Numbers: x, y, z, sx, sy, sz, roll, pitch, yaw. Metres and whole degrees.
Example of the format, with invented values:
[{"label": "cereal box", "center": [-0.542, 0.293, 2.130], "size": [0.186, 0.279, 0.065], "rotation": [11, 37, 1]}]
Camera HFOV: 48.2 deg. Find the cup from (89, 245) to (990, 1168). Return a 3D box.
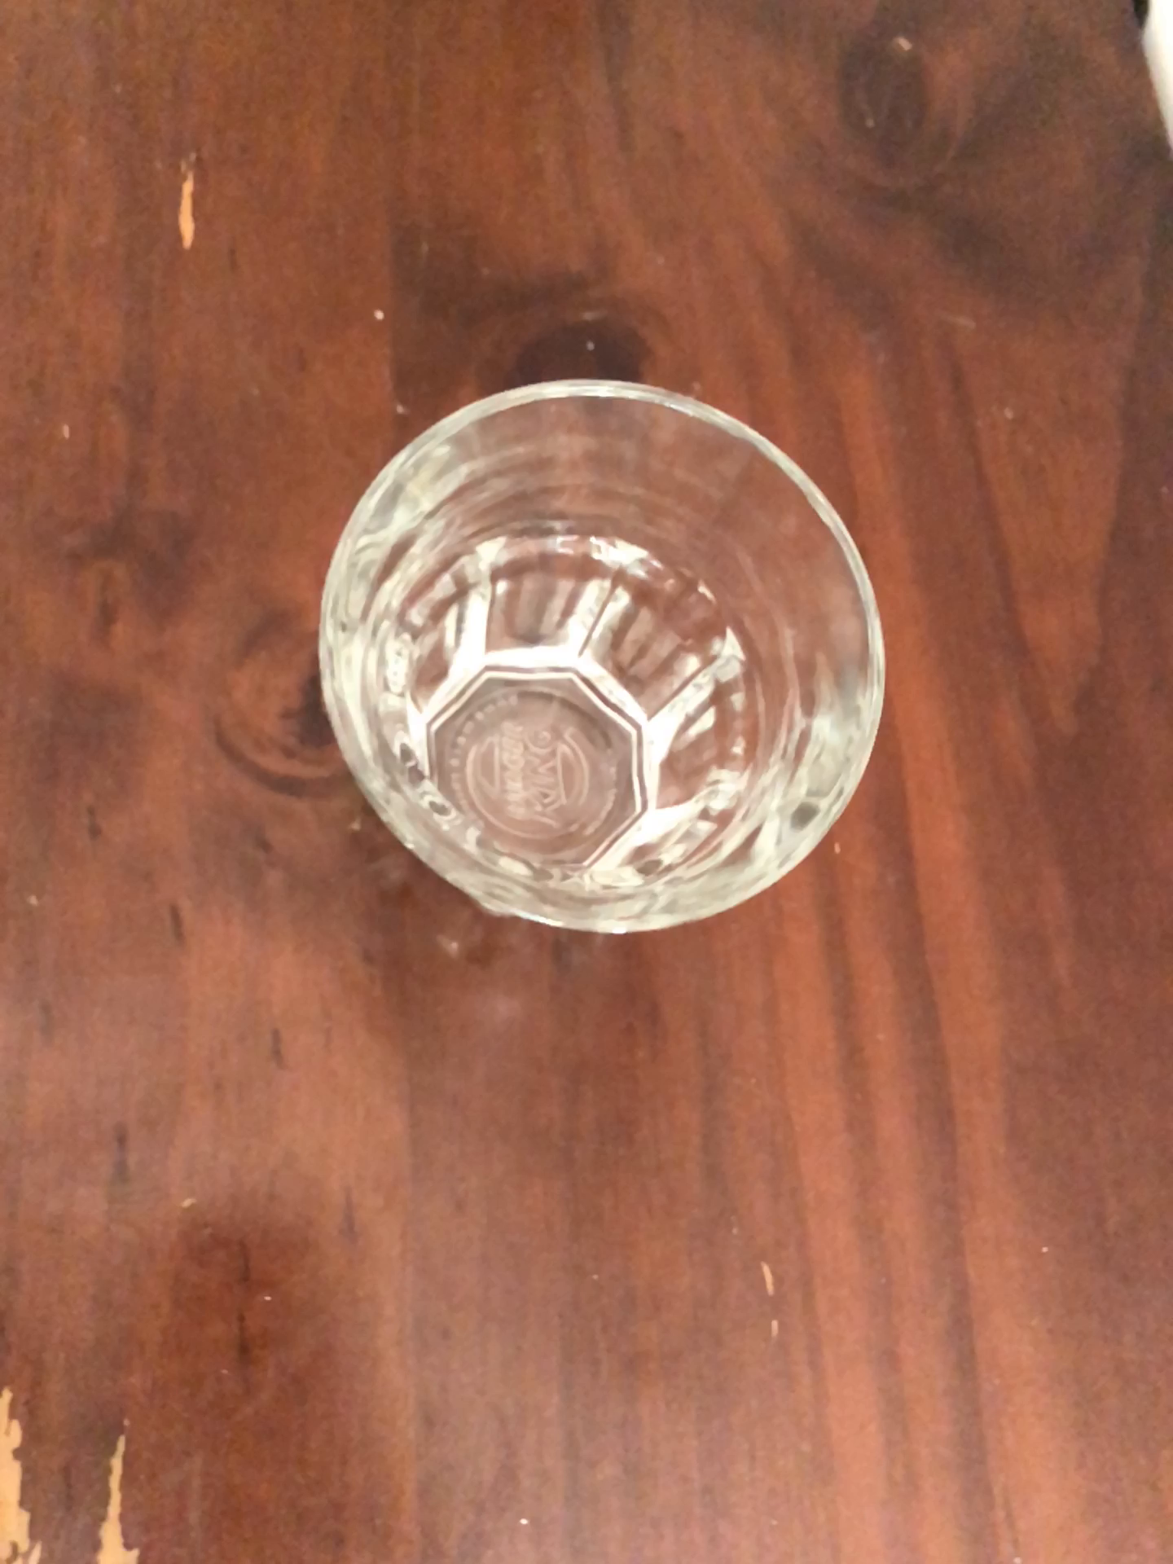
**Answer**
[{"label": "cup", "center": [-0.009, -0.004, 0.226], "size": [0.090, 0.096, 0.101], "rotation": [29, 68, -1]}]
